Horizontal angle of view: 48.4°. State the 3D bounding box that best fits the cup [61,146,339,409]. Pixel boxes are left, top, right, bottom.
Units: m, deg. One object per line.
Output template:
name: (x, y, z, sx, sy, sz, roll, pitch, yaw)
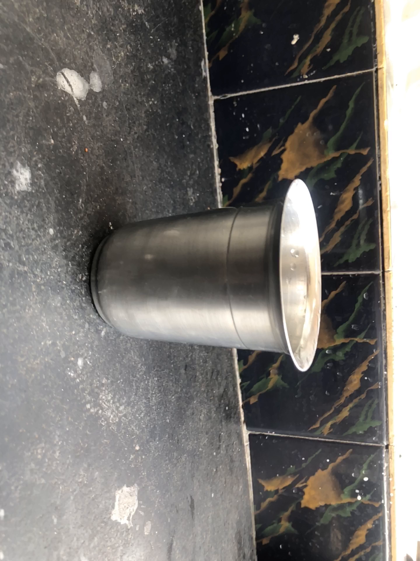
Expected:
cup: (0.007, -0.004, 0.238, 0.090, 0.099, 0.090, -1, 90, -68)
